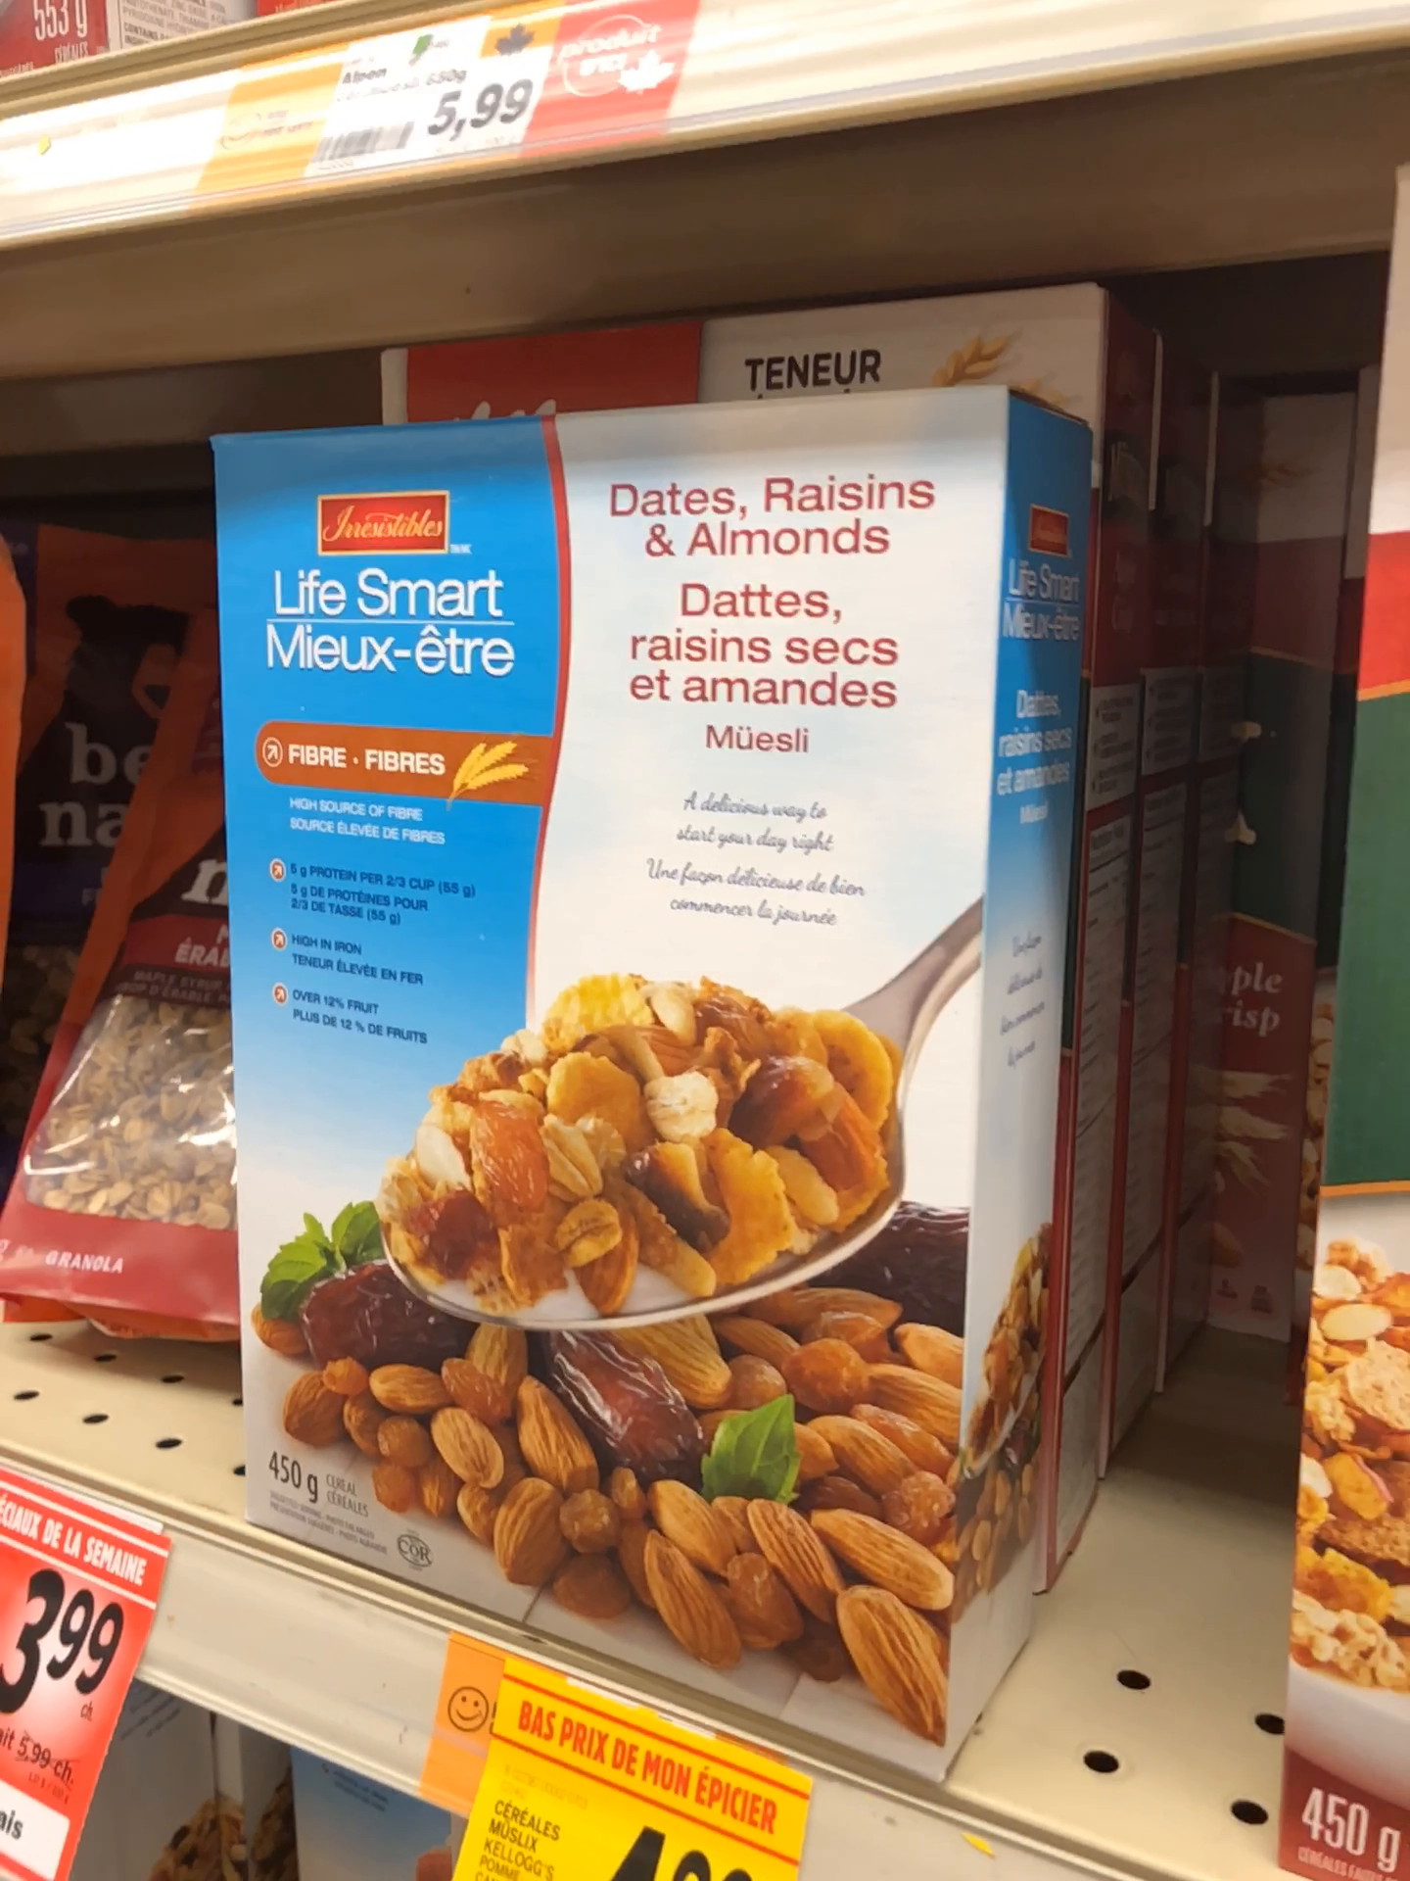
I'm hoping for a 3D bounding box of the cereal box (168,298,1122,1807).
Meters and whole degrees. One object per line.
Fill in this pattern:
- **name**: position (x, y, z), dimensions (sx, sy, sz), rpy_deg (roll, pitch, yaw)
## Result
- **cereal box**: position (-0.017, 0.015, 0.303), dimensions (0.170, 0.239, 0.050), rpy_deg (6, 13, 29)
